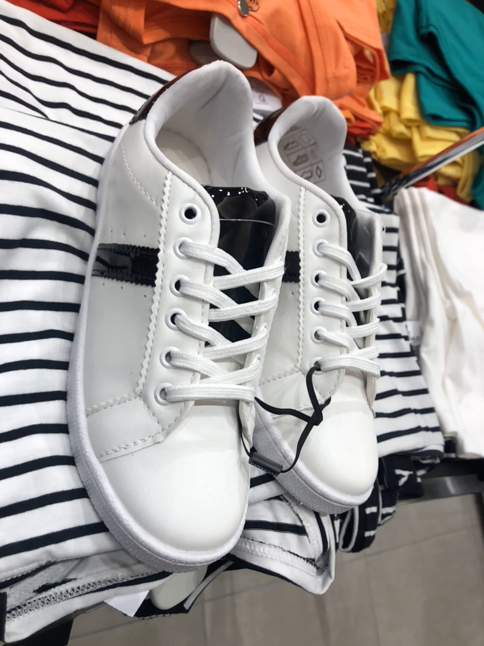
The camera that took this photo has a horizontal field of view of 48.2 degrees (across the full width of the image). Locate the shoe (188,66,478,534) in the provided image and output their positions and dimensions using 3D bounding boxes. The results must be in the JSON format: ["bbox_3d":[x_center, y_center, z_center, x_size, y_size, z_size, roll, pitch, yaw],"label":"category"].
[{"bbox_3d":[0.041,-0.007,0.288,0.091,0.079,0.210,7,68,-41],"label":"shoe"}]

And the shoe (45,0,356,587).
[{"bbox_3d":[-0.025,-0.014,0.227,0.080,0.079,0.210,10,67,-41],"label":"shoe"}]
